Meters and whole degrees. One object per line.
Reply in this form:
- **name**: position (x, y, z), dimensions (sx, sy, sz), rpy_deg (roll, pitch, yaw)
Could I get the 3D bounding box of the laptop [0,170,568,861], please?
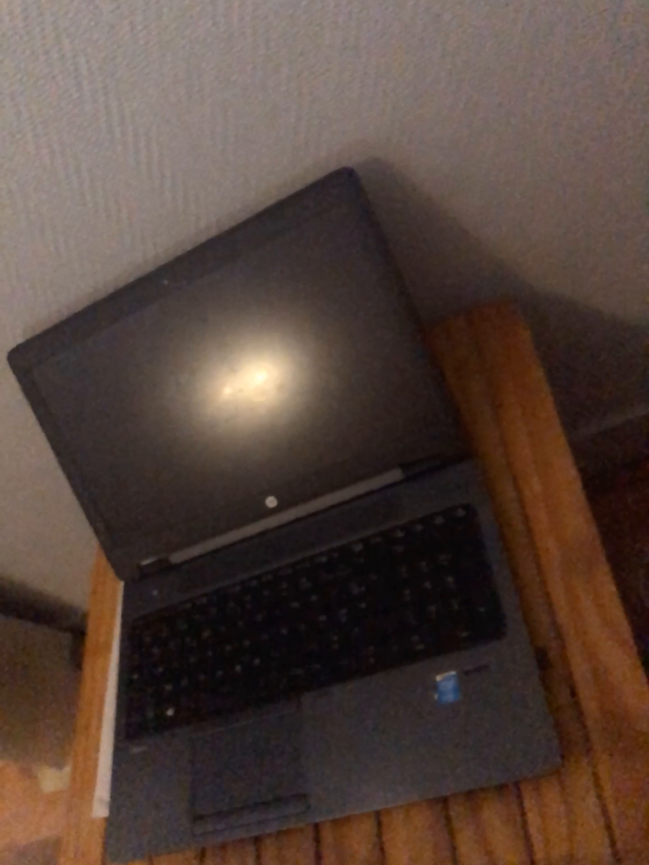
- **laptop**: position (-0.077, 0.072, 0.587), dimensions (0.382, 0.195, 0.411), rpy_deg (-23, 50, 19)
